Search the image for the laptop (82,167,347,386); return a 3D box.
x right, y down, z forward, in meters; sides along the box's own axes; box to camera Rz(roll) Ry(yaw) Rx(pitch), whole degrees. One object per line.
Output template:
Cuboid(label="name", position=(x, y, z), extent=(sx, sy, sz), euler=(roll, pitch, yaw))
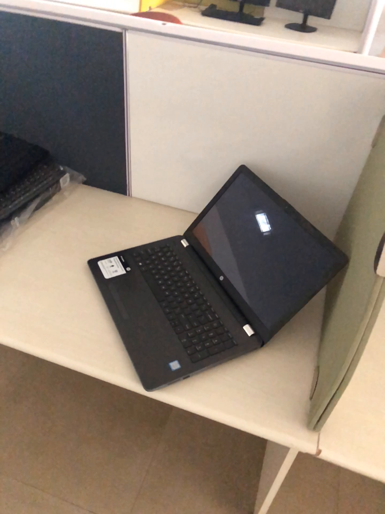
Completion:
Cuboid(label="laptop", position=(0.023, 0.004, 0.887), extent=(0.394, 0.167, 0.367), euler=(-16, 45, -23))
